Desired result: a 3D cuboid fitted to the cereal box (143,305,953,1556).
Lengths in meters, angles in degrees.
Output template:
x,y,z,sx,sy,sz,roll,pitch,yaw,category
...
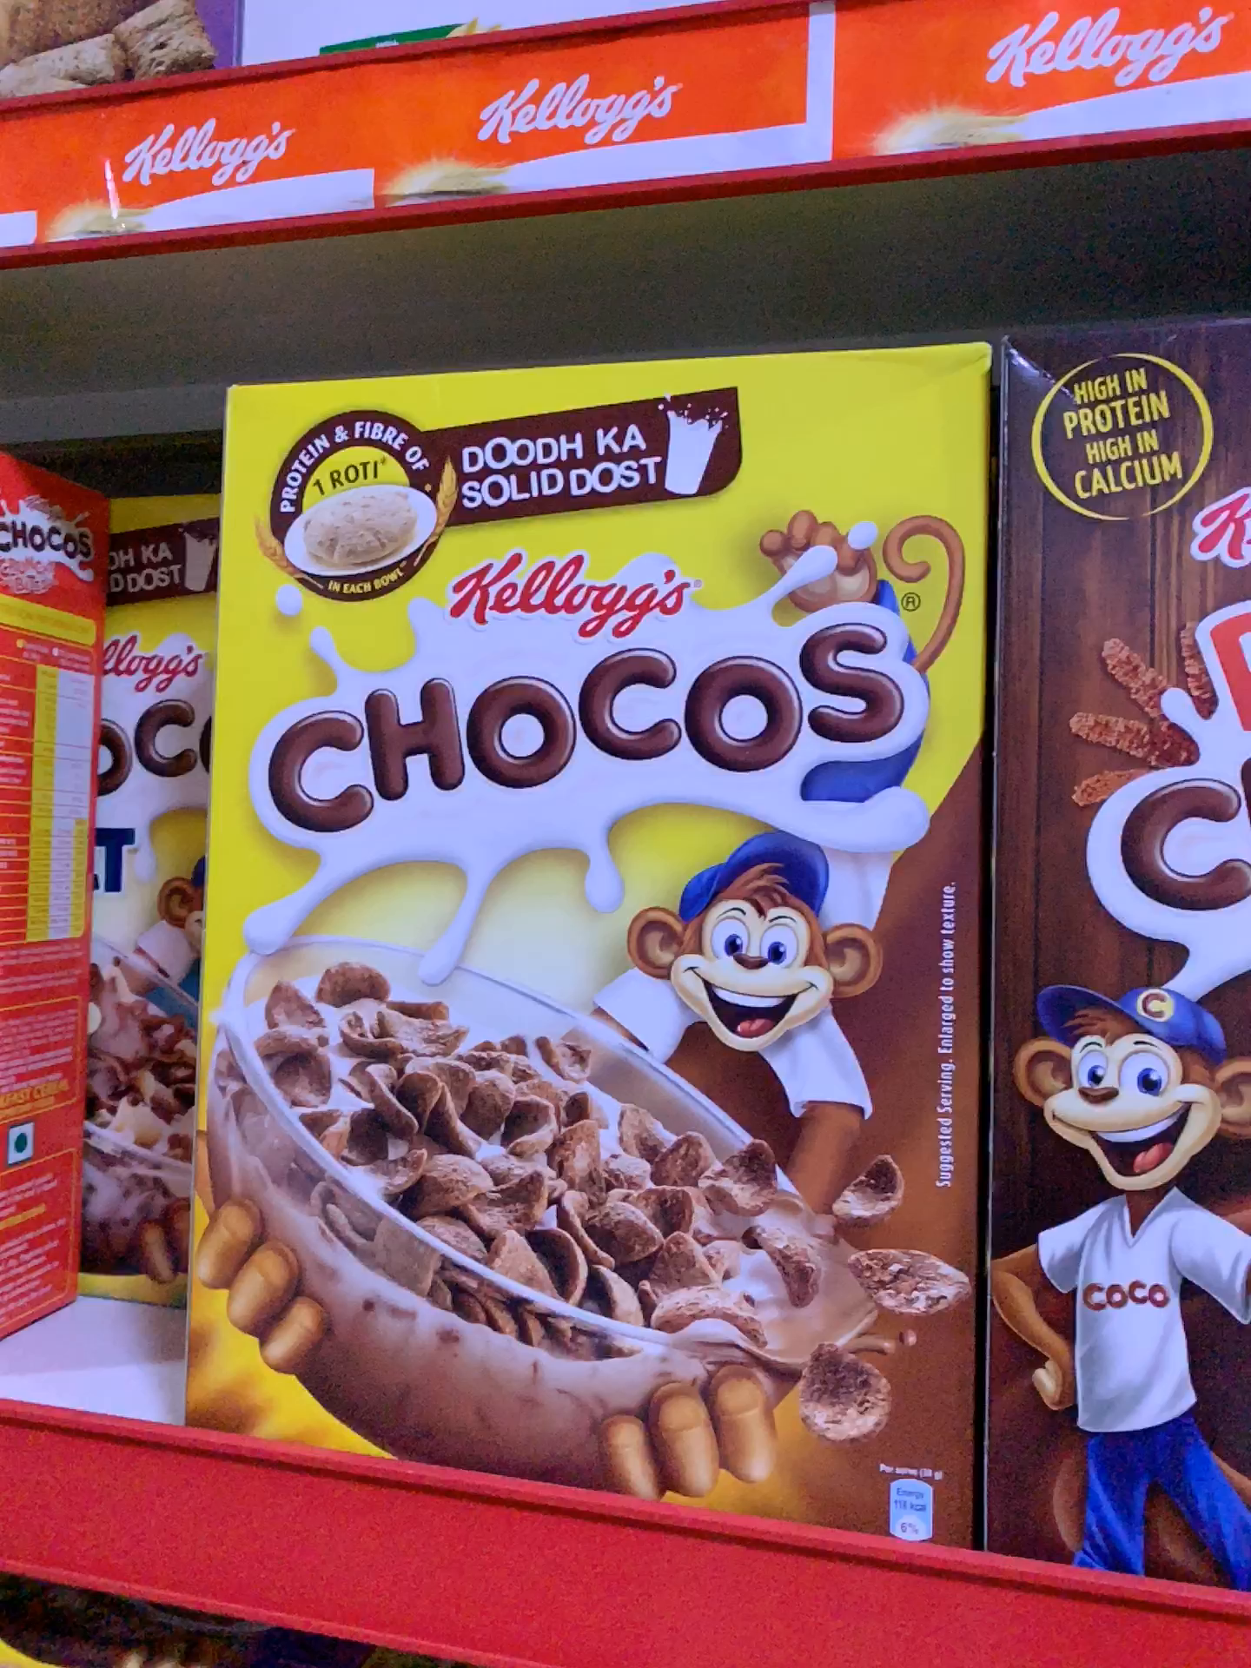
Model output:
x,y,z,sx,sy,sz,roll,pitch,yaw,category
-0.014,0.015,0.300,0.170,0.240,0.060,1,-2,14,cereal box
